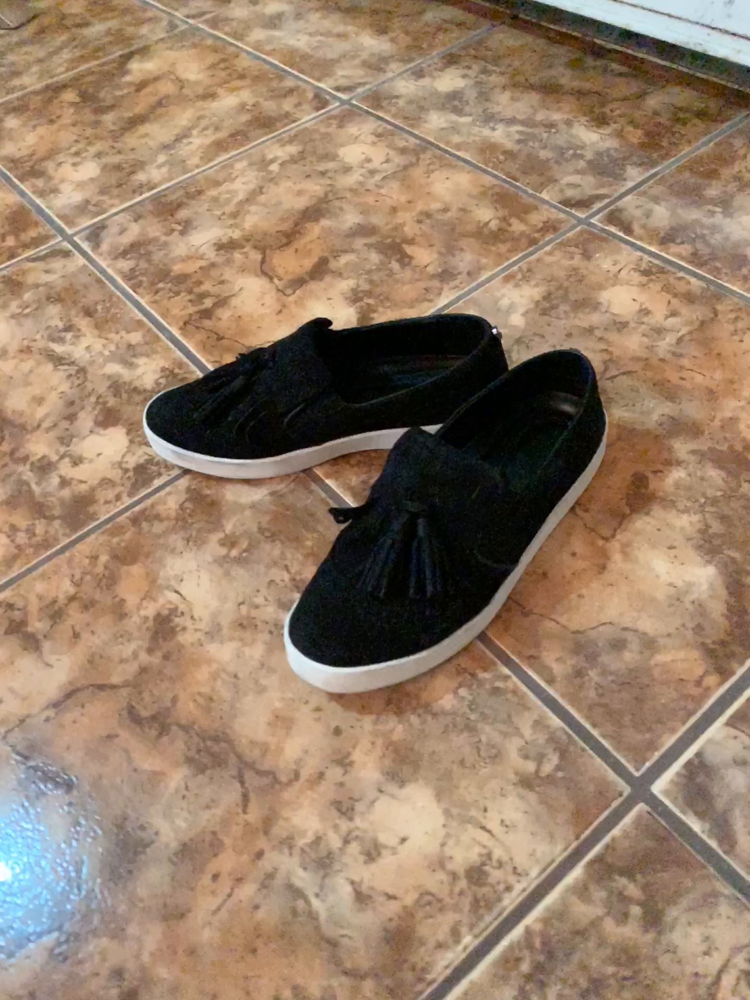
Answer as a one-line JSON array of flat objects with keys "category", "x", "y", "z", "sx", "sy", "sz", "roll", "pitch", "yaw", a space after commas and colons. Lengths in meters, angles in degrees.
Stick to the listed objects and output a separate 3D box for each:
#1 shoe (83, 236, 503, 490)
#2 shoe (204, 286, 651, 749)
[{"category": "shoe", "x": -0.049, "y": -0.091, "z": 0.514, "sx": 0.249, "sy": 0.094, "sz": 0.098, "roll": -8, "pitch": 51, "yaw": 0}, {"category": "shoe", "x": 0.041, "y": -0.002, "z": 0.432, "sx": 0.098, "sy": 0.094, "sz": 0.250, "roll": 32, "pitch": 62, "yaw": 28}]
